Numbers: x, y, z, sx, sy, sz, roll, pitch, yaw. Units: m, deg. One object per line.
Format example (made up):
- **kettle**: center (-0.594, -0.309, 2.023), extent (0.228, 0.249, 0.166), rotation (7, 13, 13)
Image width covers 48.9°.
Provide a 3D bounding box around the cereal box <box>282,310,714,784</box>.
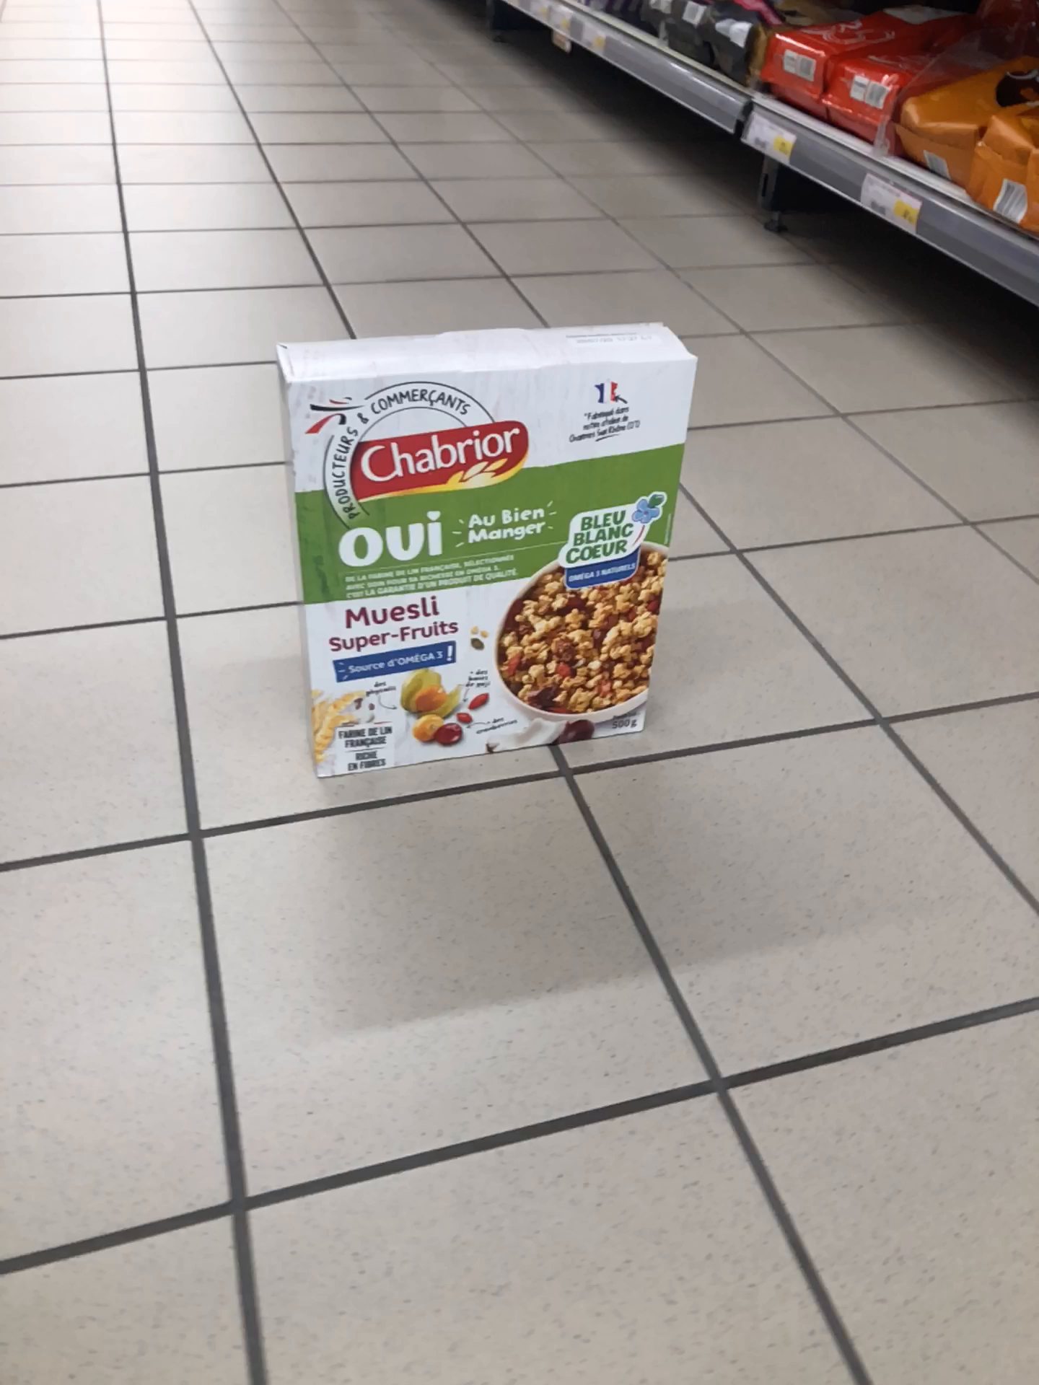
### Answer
- **cereal box**: center (-0.016, -0.071, 0.595), extent (0.190, 0.229, 0.060), rotation (-7, 39, -15)
